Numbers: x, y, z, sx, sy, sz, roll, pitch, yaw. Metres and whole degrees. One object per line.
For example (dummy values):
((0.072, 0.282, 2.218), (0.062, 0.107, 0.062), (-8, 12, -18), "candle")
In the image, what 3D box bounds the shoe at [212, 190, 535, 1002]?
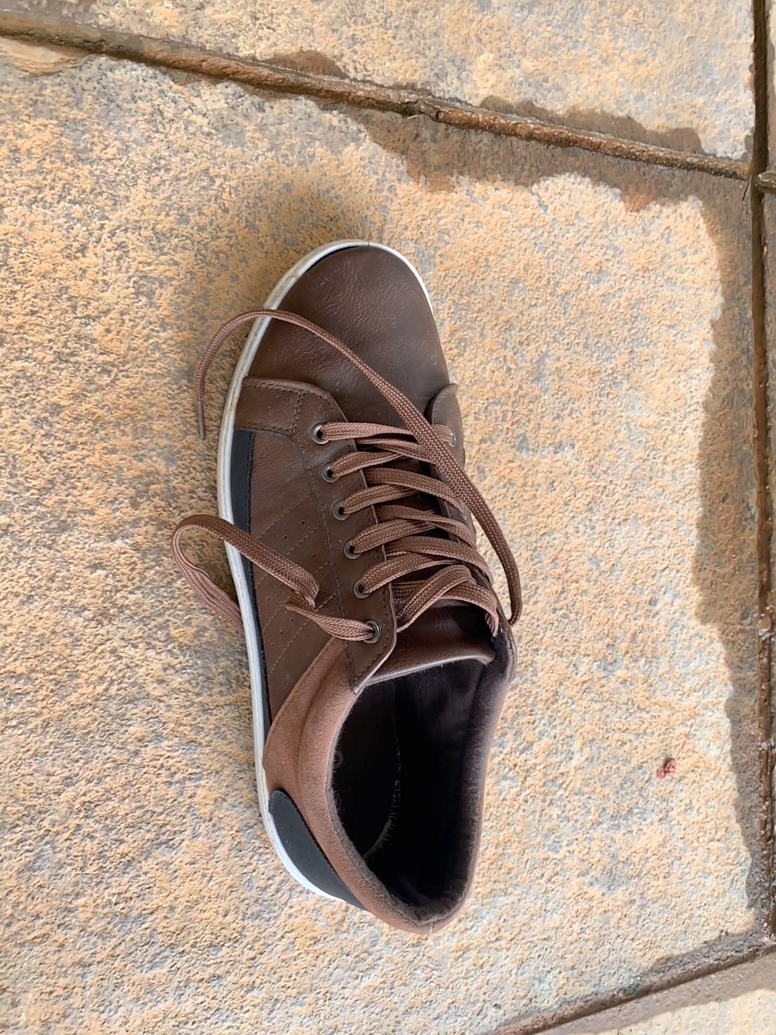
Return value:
((-0.009, 0.028, 0.354), (0.110, 0.080, 0.300), (-2, 91, -24), "shoe")
